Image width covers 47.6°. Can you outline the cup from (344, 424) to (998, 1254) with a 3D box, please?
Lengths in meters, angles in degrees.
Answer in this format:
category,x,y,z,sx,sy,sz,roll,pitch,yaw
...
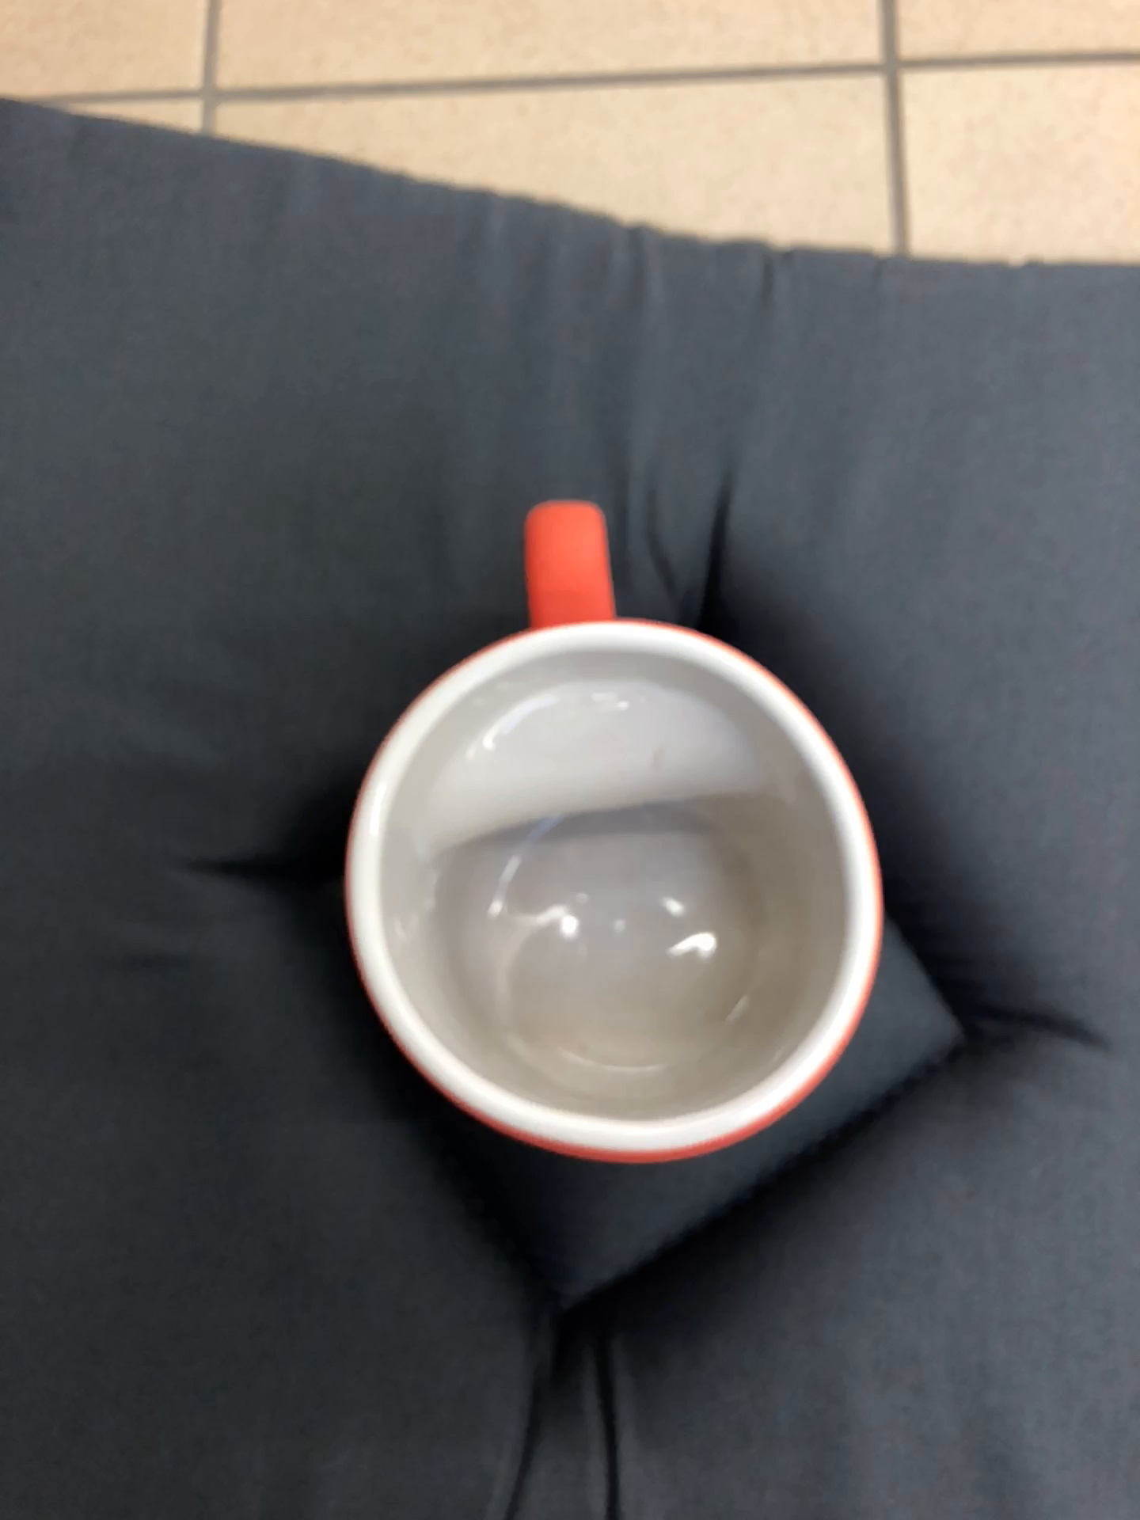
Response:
category,x,y,z,sx,sy,sz,roll,pitch,yaw
cup,0.015,0.017,0.238,0.090,0.090,0.120,-4,79,3
